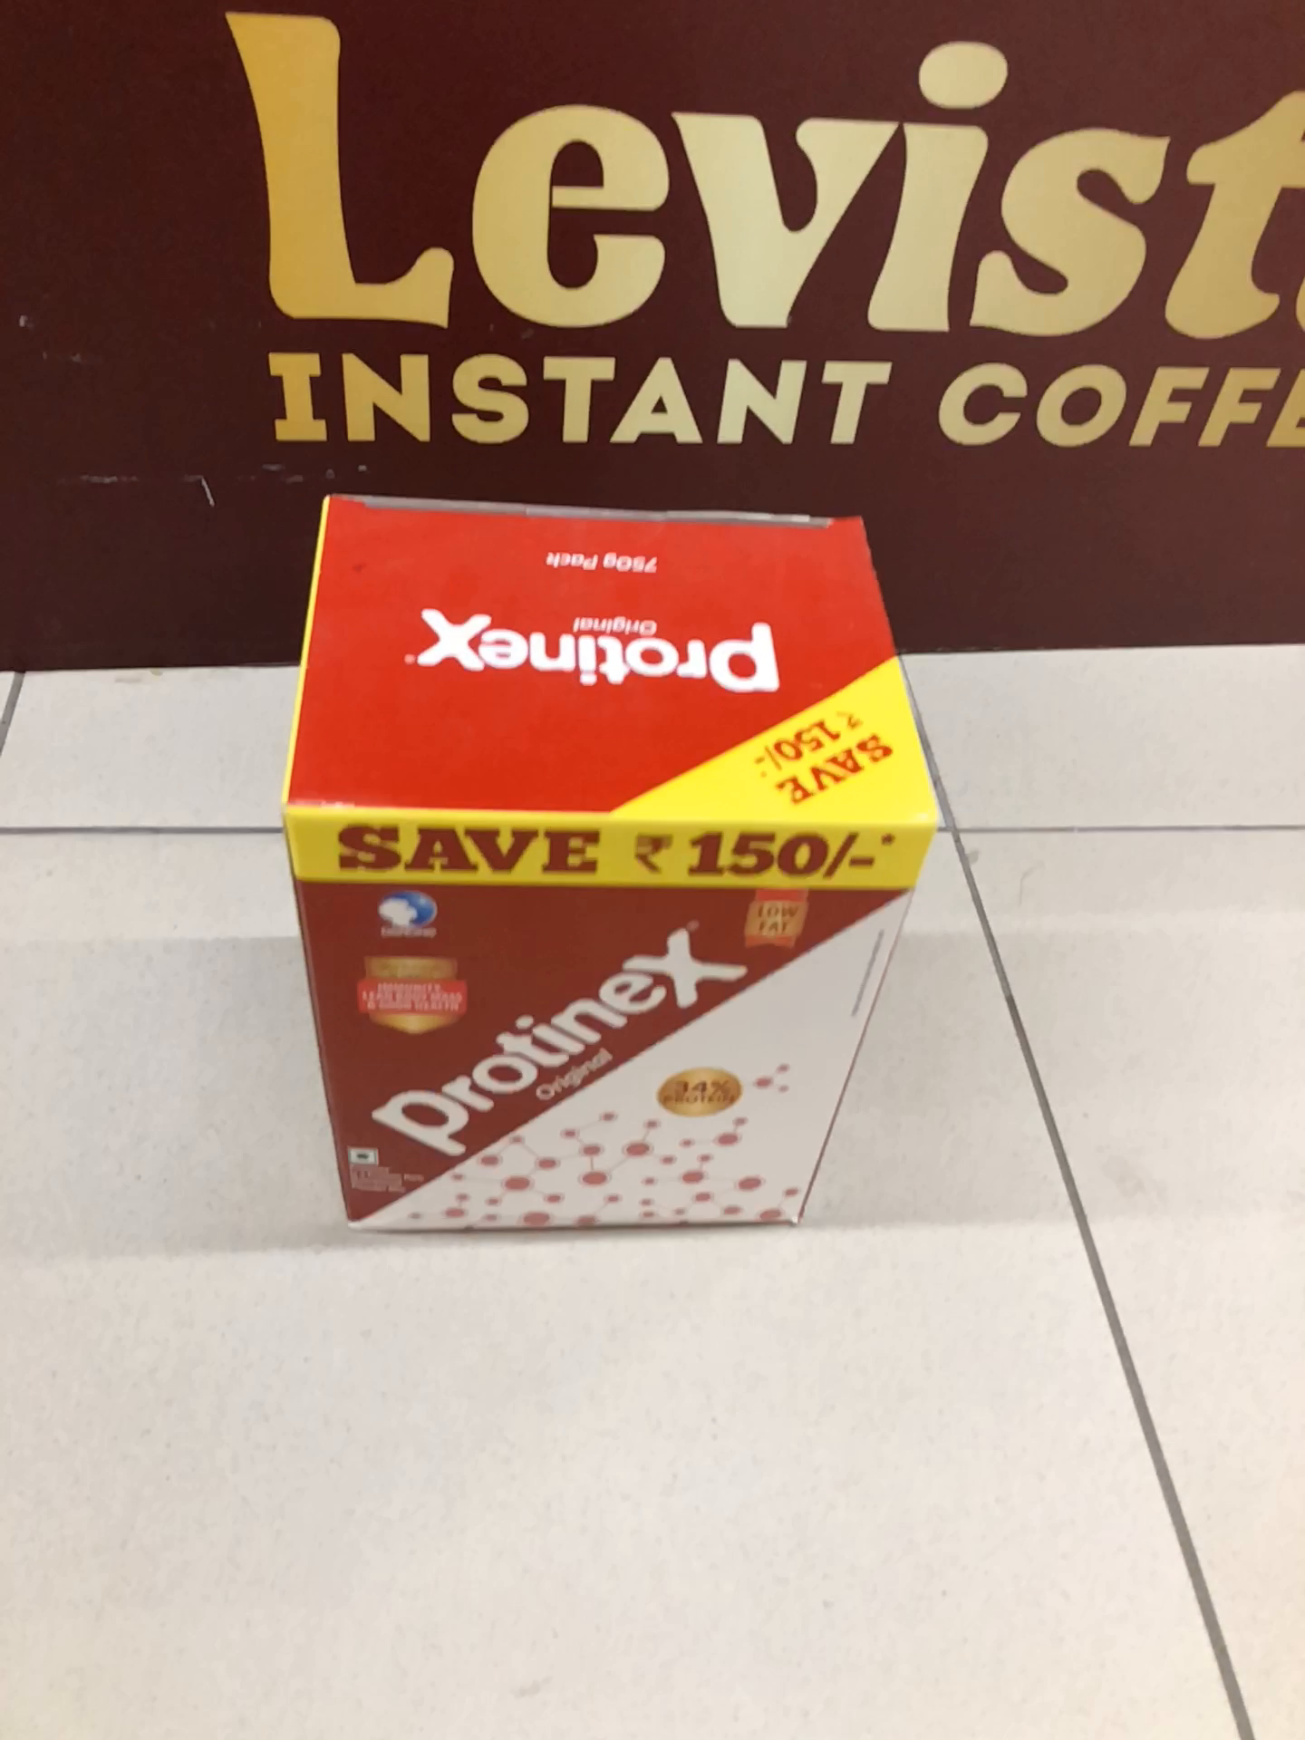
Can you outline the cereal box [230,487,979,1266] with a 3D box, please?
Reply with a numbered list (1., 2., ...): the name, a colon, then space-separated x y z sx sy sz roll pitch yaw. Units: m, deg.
1. cereal box: -0.022 0.012 0.419 0.160 0.199 0.121 0 48 -7
